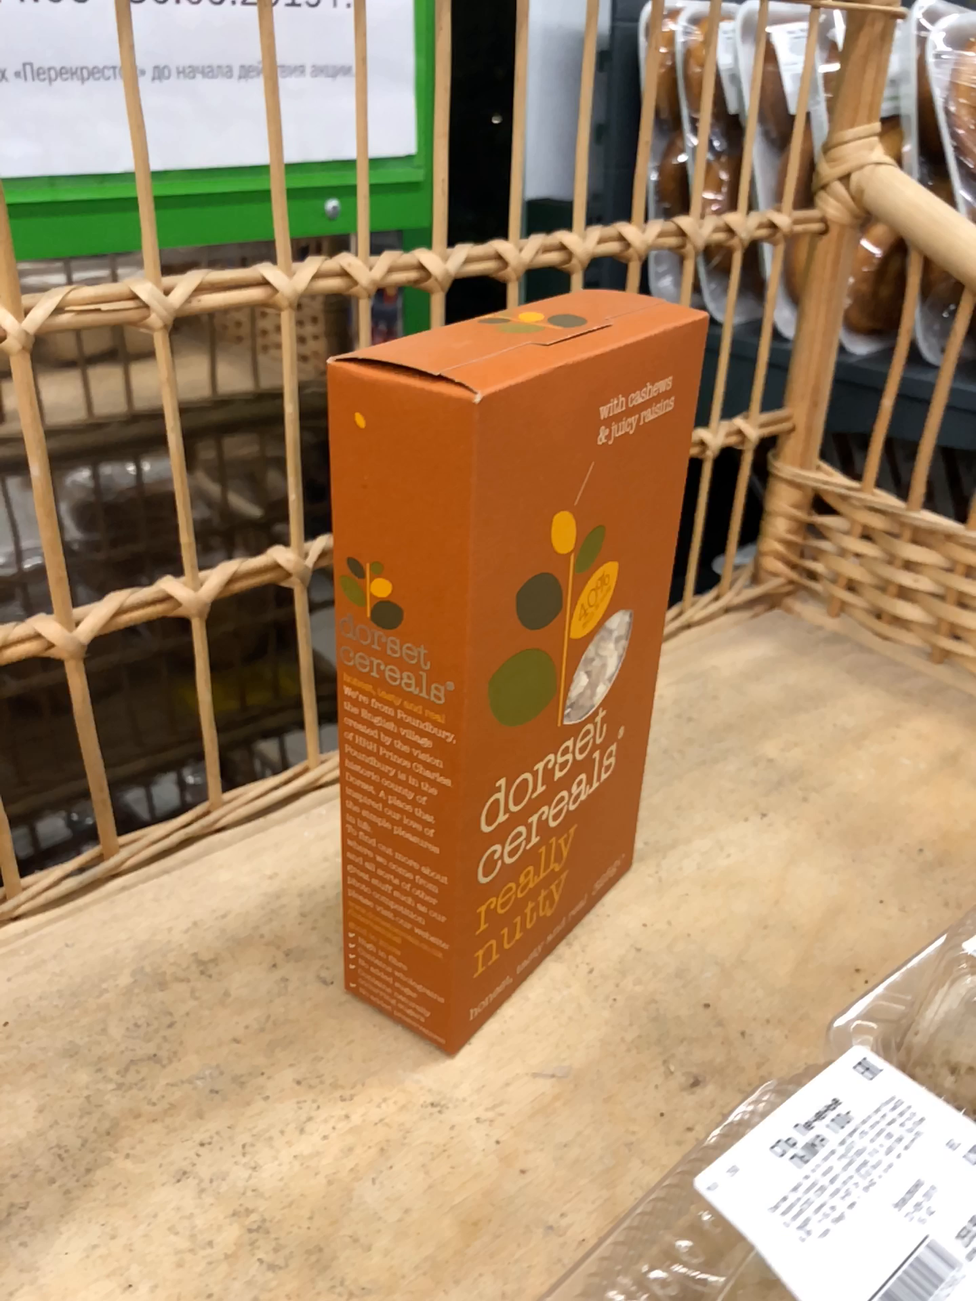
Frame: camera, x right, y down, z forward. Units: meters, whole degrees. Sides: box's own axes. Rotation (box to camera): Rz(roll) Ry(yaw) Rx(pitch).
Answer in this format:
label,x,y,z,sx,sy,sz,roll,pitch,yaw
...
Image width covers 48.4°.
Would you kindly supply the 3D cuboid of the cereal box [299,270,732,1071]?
label,x,y,z,sx,sy,sz,roll,pitch,yaw
cereal box,0.011,0.003,0.337,0.050,0.209,0.131,20,34,29
